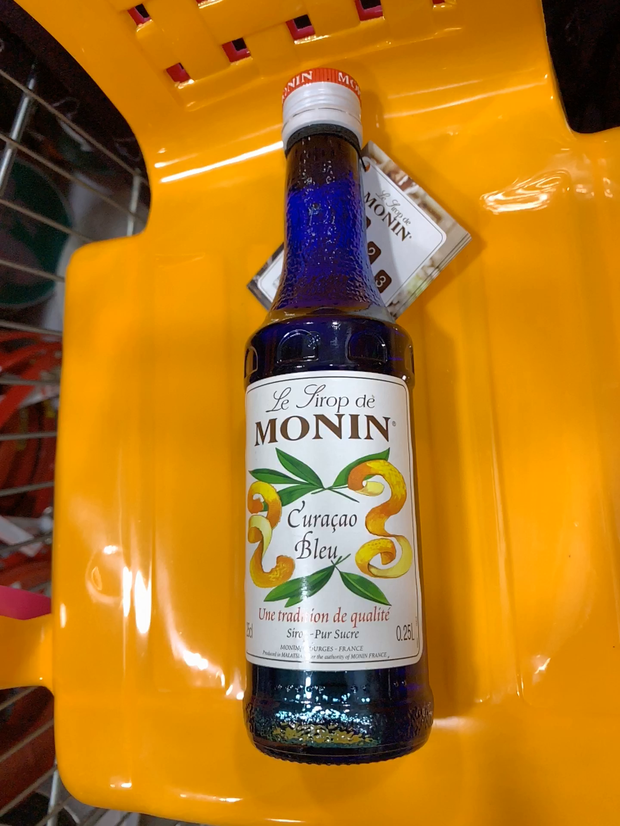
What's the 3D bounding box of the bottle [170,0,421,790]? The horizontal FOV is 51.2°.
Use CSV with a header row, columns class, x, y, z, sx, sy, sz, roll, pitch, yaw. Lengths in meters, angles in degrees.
class,x,y,z,sx,sy,sz,roll,pitch,yaw
bottle,-0.002,-0.014,0.203,0.060,0.050,0.220,-3,79,13
